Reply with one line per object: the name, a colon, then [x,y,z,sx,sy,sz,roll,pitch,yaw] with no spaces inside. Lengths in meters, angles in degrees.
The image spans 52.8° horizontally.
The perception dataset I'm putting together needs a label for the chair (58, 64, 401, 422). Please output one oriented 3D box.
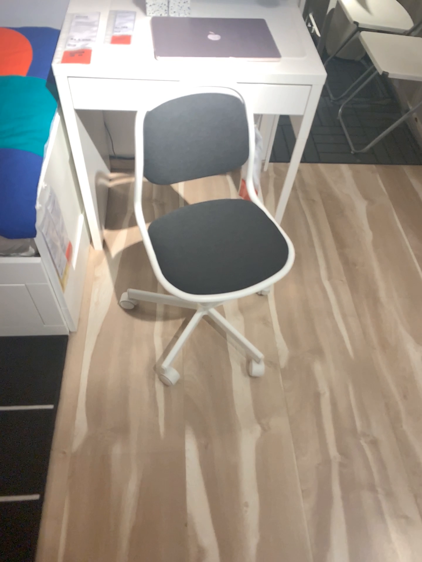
chair: [-0.011,-0.101,1.217,0.550,0.658,0.621,-19,57,-18]
